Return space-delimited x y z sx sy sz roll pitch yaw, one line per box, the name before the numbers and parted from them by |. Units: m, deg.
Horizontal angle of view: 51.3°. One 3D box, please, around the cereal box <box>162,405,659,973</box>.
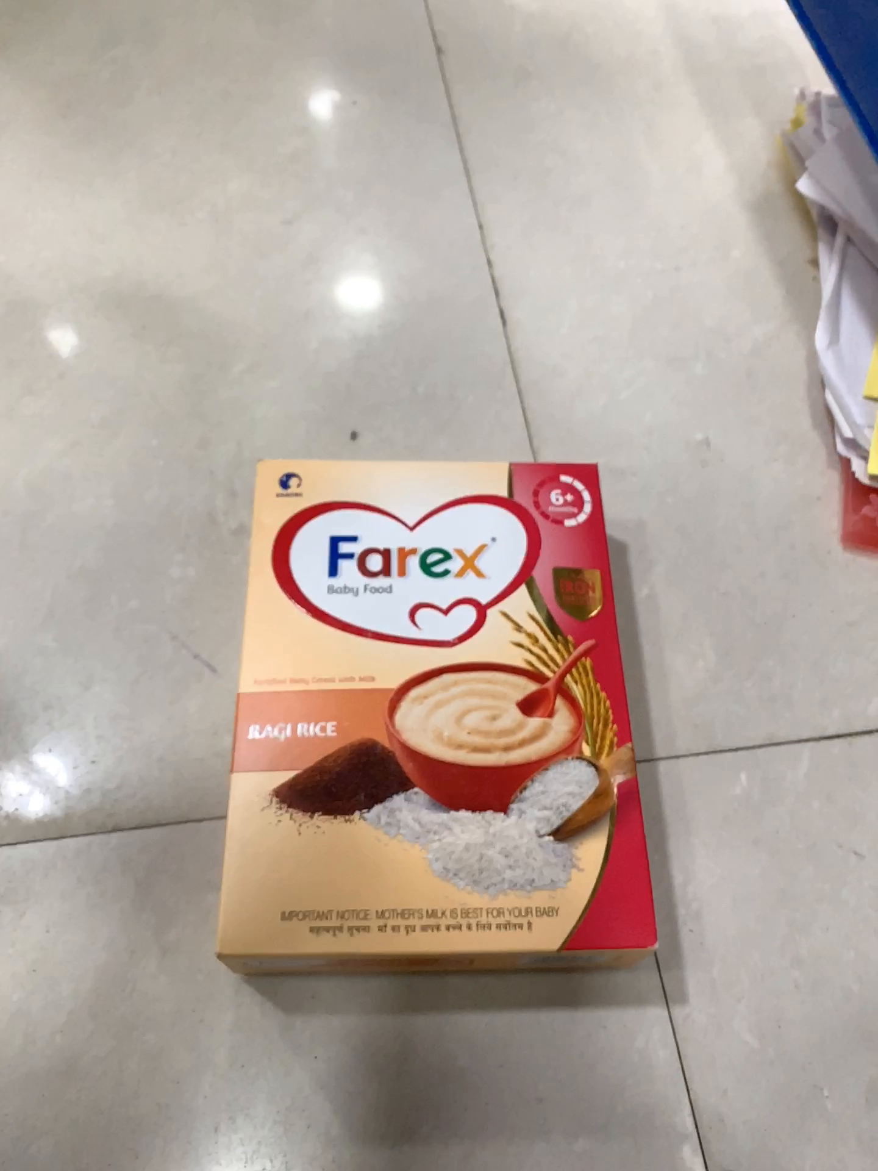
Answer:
cereal box | -0.012 0.033 0.341 0.150 0.050 0.200 2 63 -7
